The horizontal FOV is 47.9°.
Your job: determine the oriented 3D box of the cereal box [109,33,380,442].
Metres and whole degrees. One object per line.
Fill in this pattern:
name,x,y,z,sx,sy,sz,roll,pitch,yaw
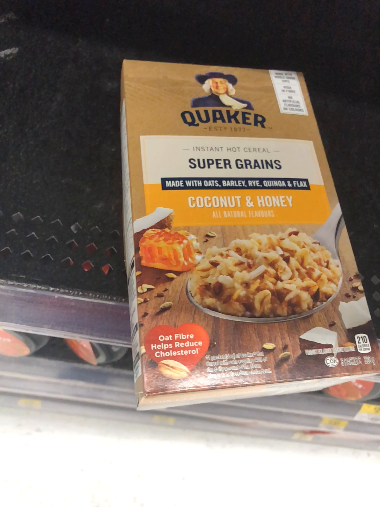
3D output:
cereal box,0.023,-0.020,0.256,0.140,0.060,0.230,0,64,-11
